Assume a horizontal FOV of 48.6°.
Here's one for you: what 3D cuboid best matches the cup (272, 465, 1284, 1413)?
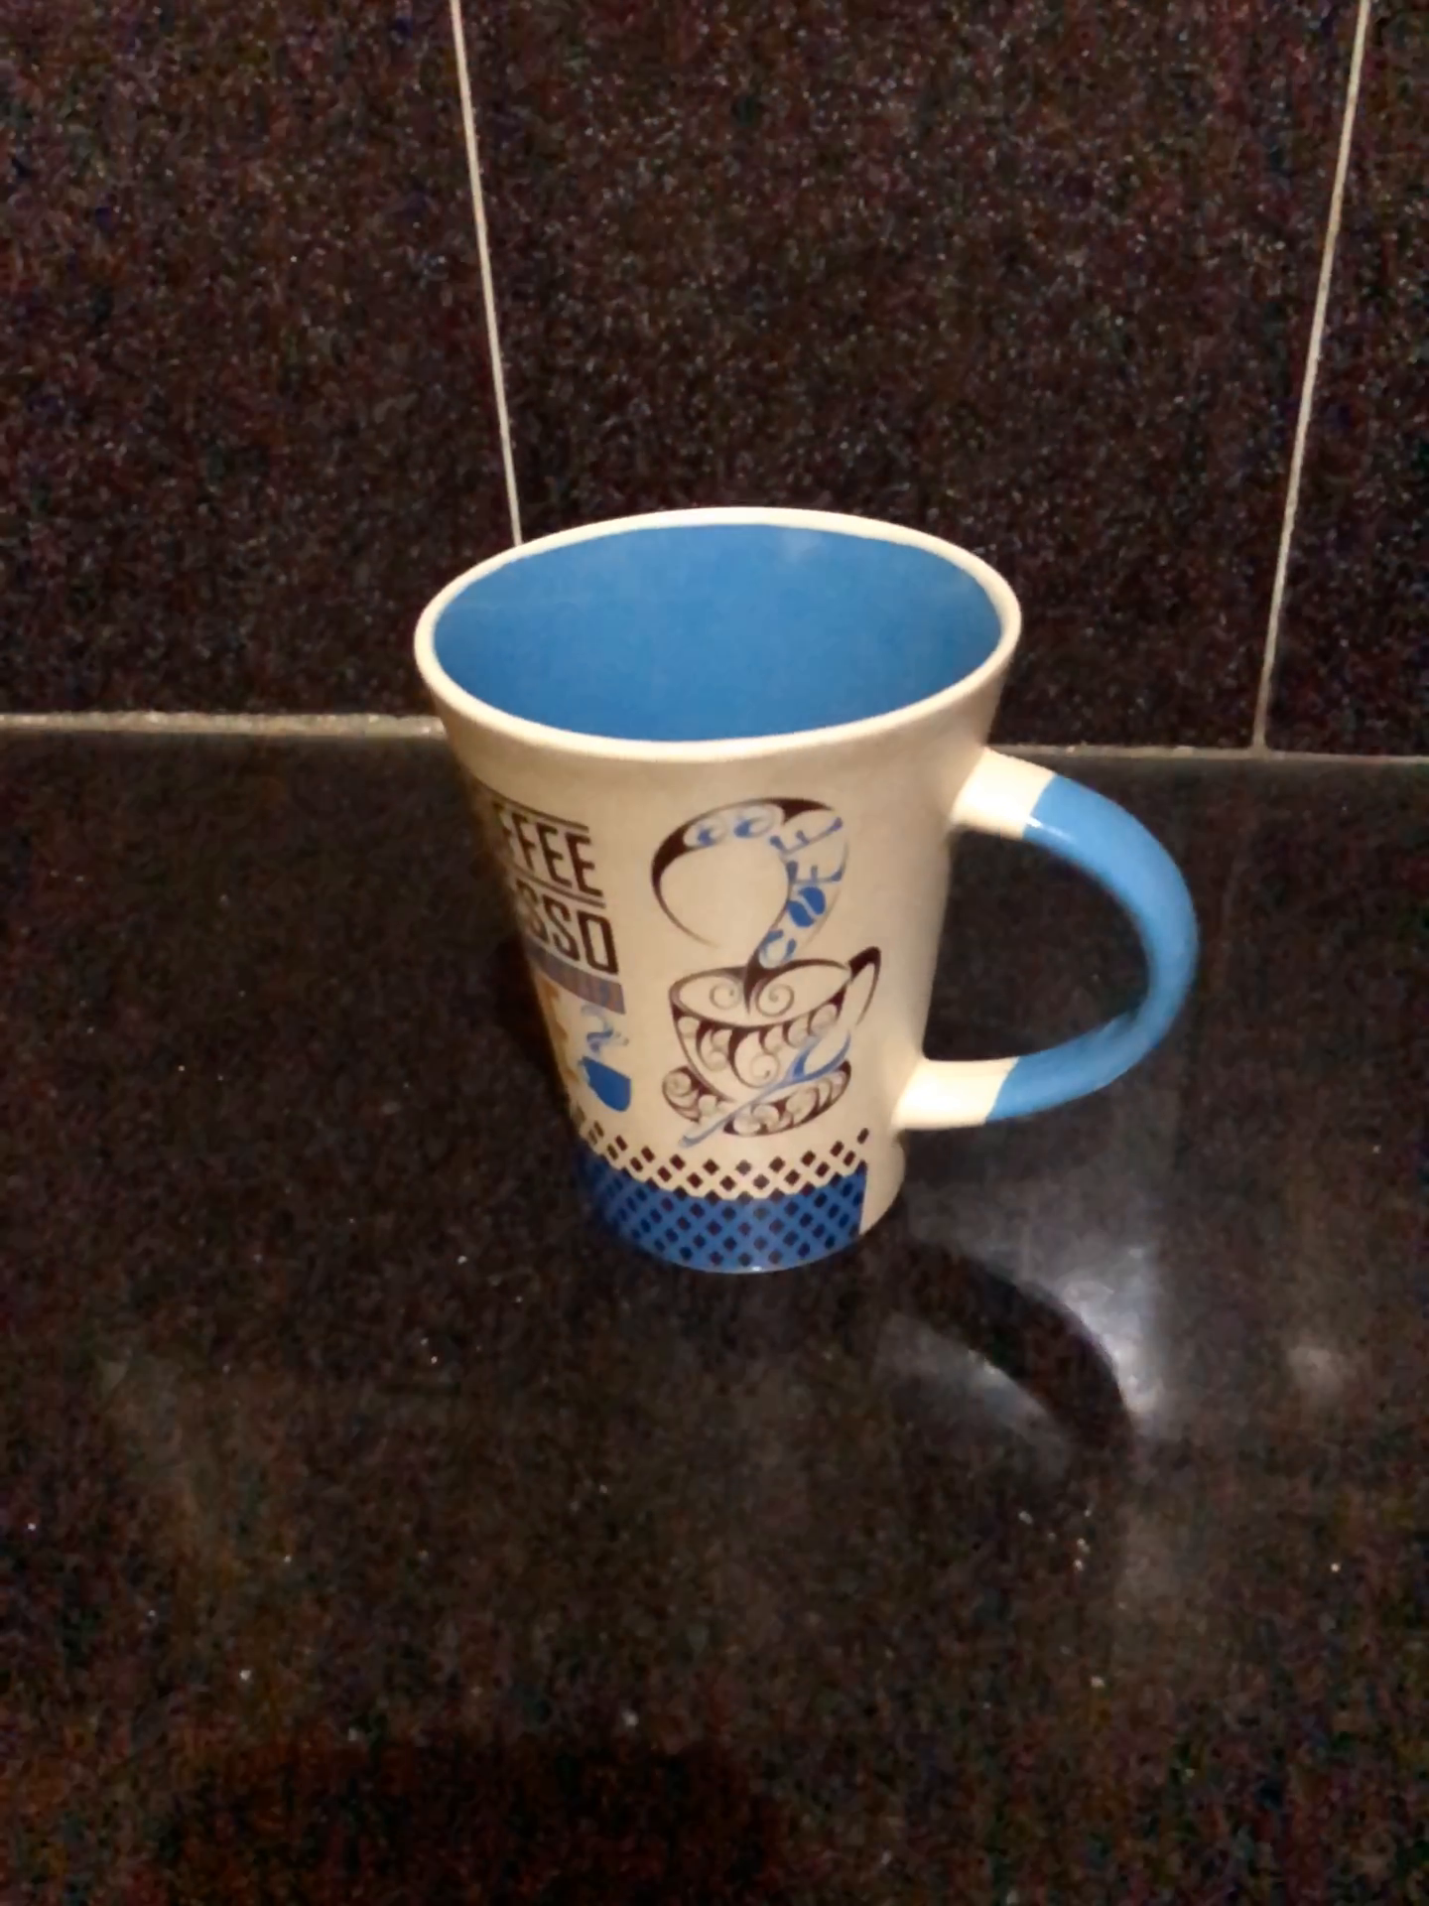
[{"bbox_3d":[0.017,-0.009,0.267,0.130,0.109,0.091,9,36,17],"label":"cup"}]
